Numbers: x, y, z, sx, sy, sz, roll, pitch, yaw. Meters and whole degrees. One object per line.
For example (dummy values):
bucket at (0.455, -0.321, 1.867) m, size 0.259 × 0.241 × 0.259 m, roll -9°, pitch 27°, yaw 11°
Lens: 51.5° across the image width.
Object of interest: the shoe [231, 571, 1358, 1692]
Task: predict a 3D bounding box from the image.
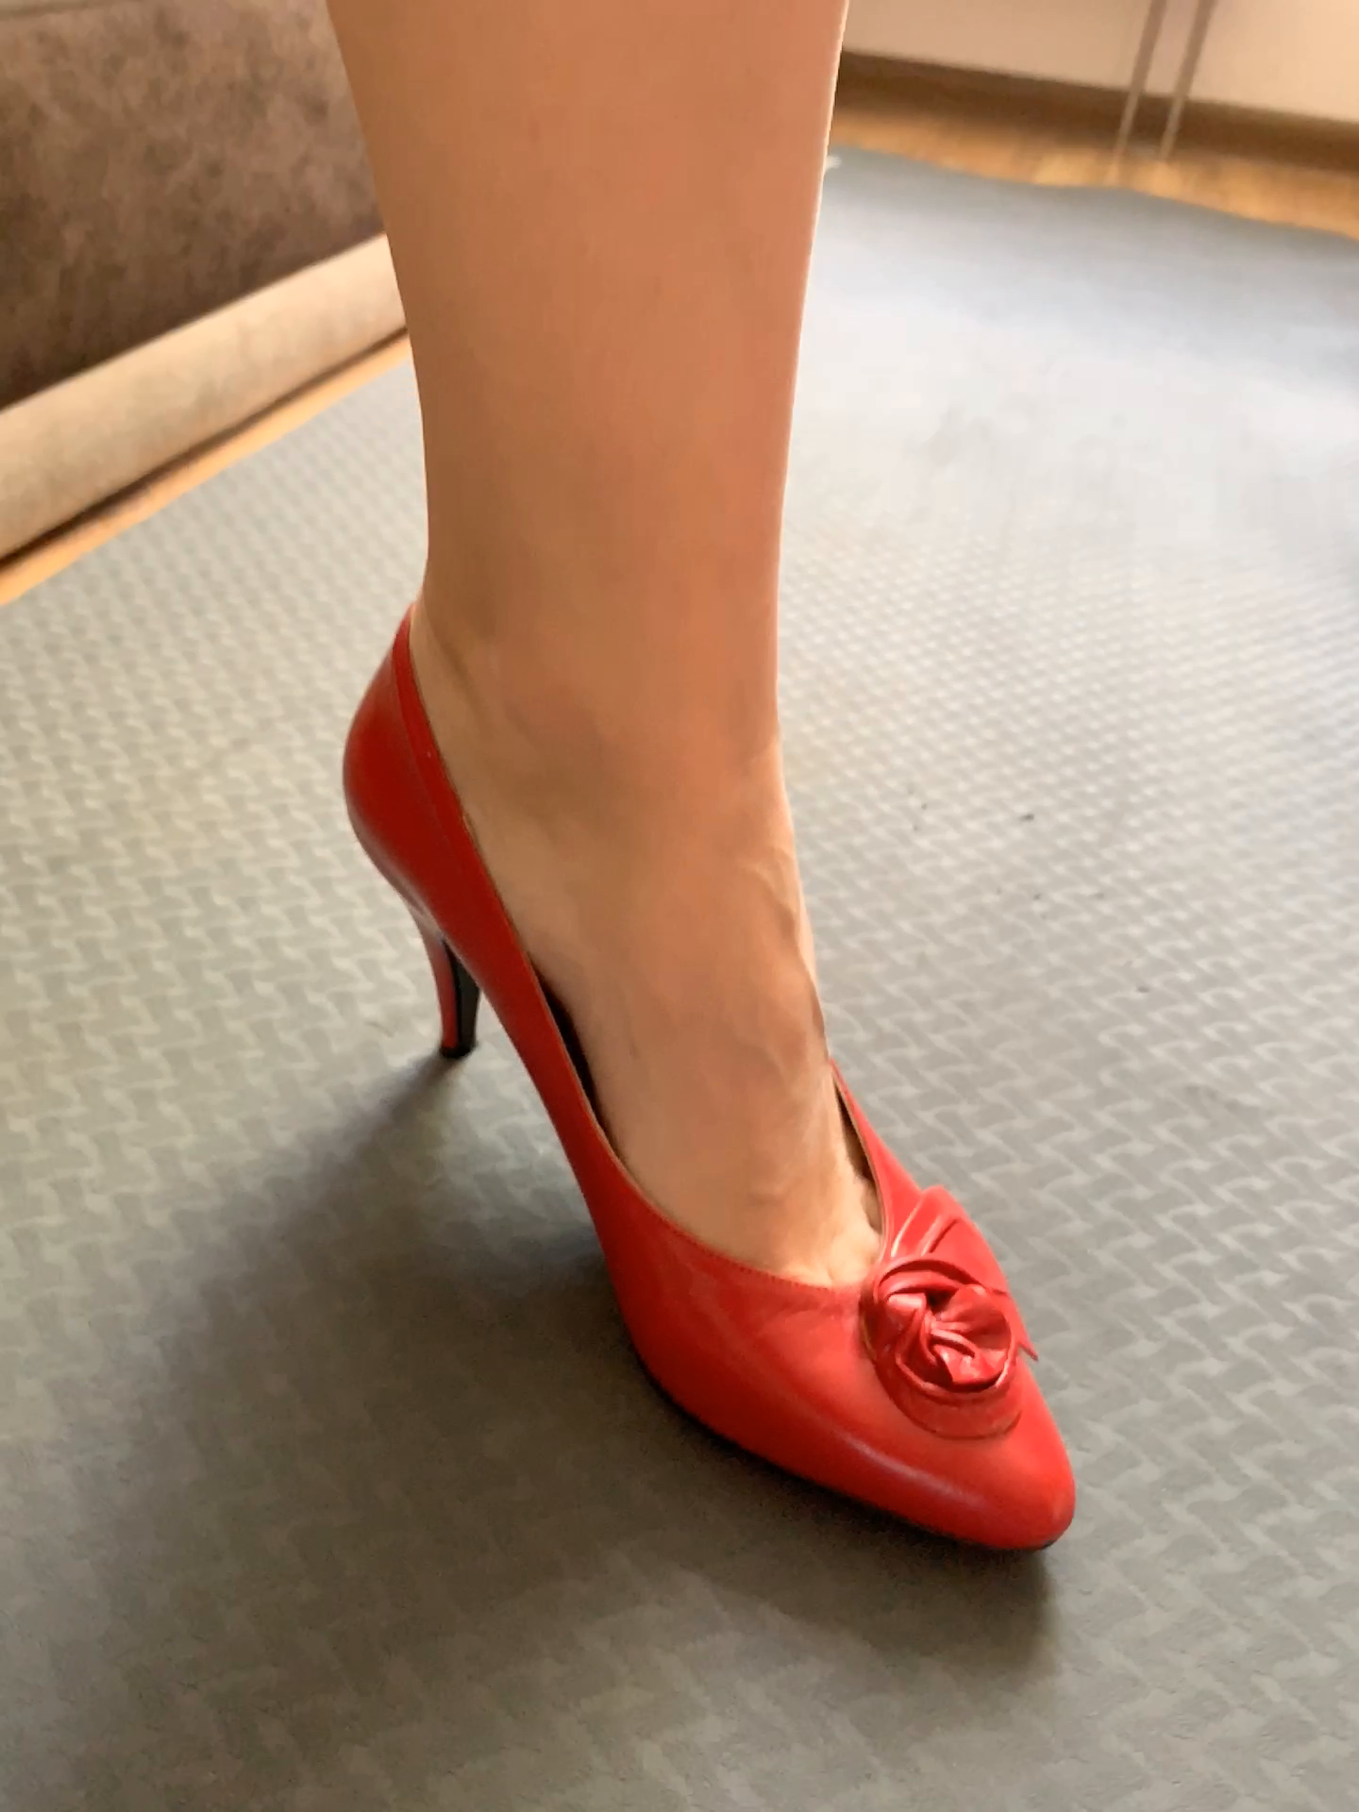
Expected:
shoe at (0.005, 0.029, 0.293) m, size 0.211 × 0.109 × 0.080 m, roll 34°, pitch 45°, yaw 31°
